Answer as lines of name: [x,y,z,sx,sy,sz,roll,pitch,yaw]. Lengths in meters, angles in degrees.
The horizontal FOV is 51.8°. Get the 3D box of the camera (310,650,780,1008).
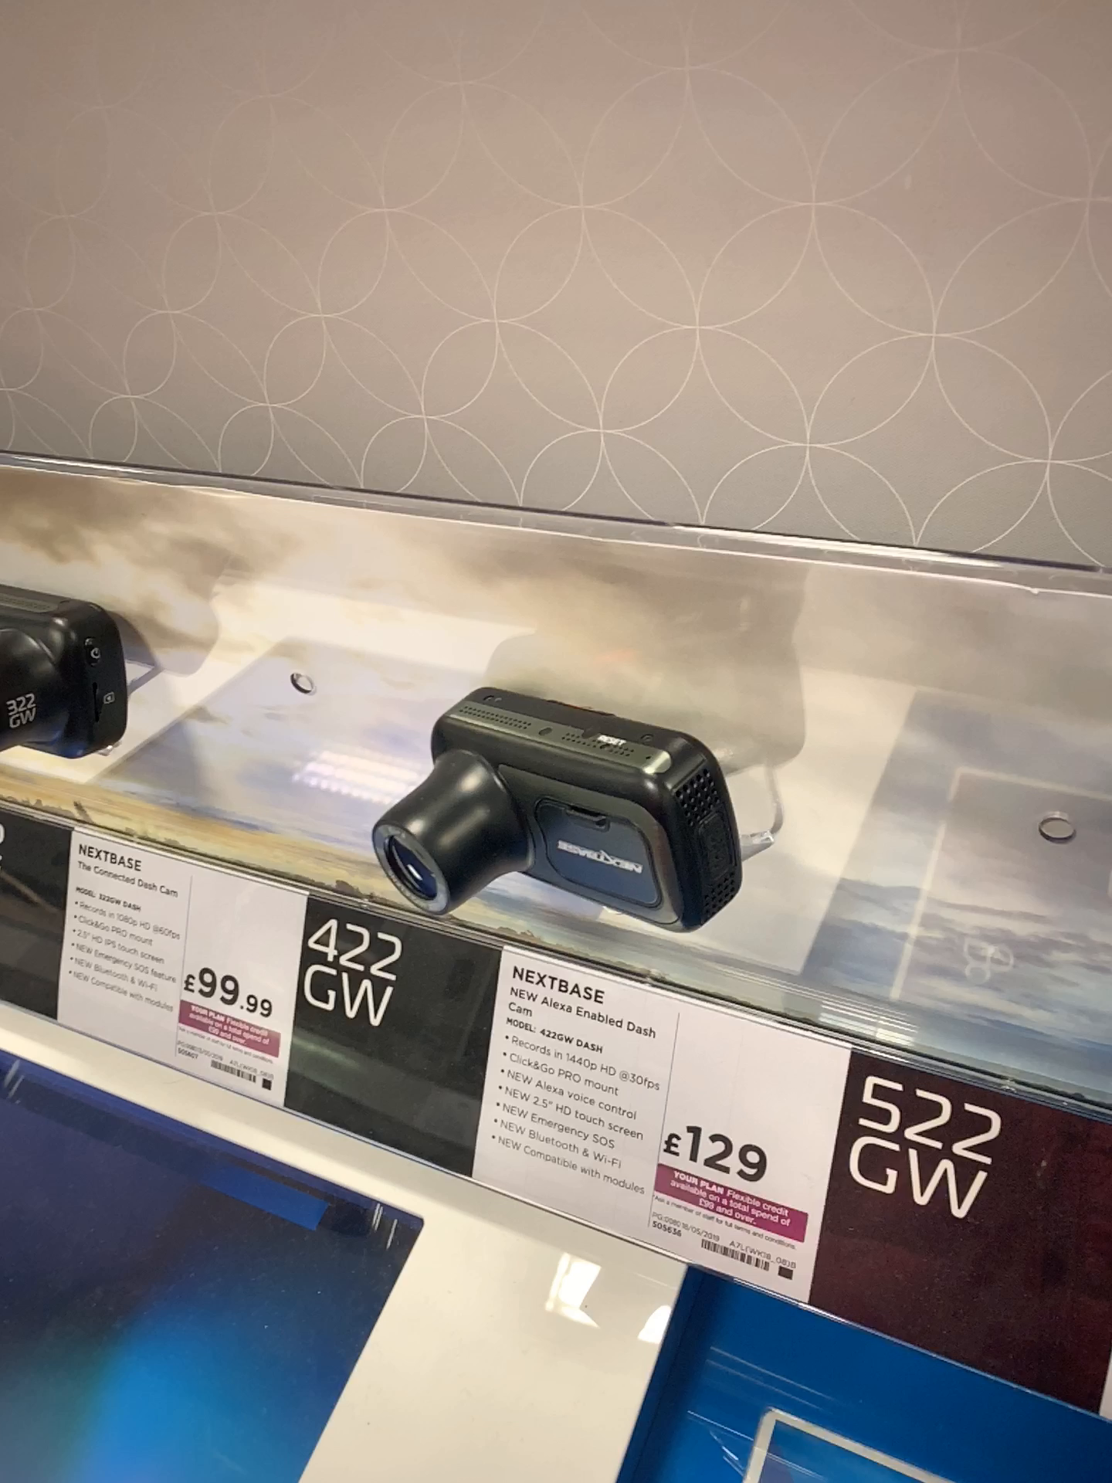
camera: [-0.004,0.014,0.258,0.090,0.040,0.050,14,39,43]
